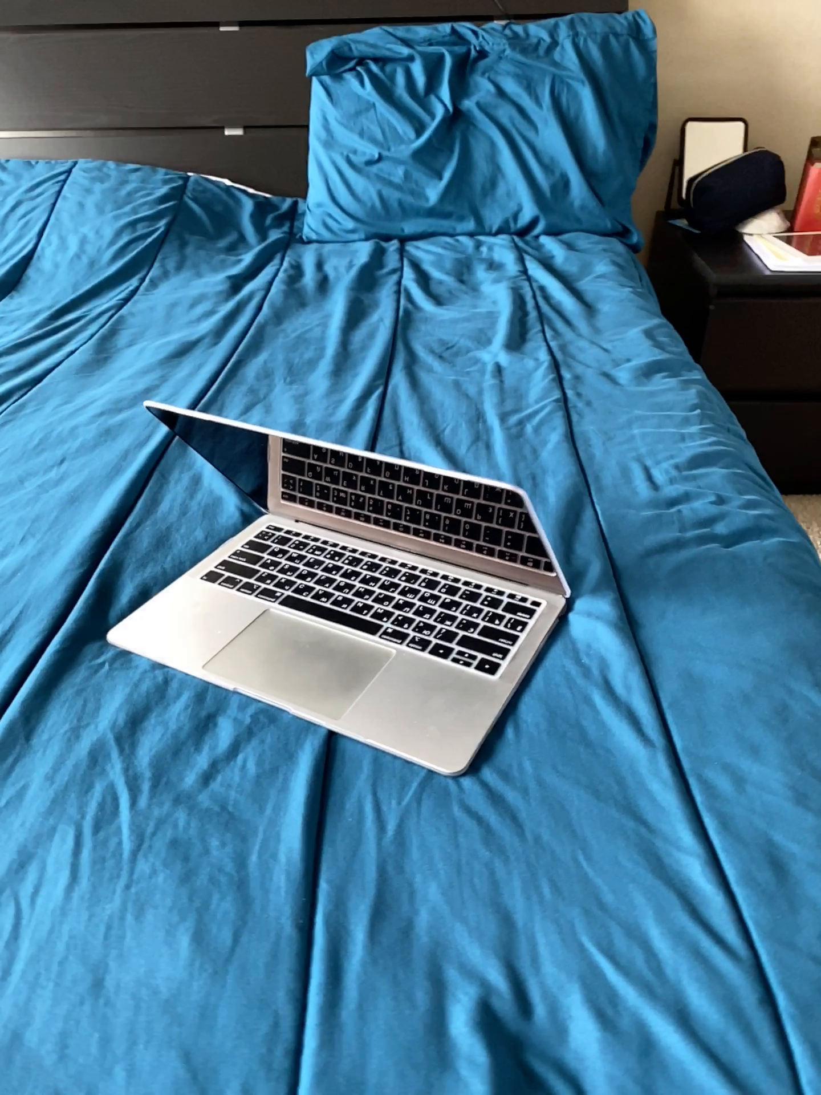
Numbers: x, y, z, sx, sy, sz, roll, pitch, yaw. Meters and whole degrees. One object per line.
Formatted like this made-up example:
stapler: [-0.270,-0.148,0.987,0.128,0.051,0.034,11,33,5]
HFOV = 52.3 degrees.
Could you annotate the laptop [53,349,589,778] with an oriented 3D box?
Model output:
laptop: [-0.052,-0.013,0.611,0.295,0.161,0.216,15,36,24]
